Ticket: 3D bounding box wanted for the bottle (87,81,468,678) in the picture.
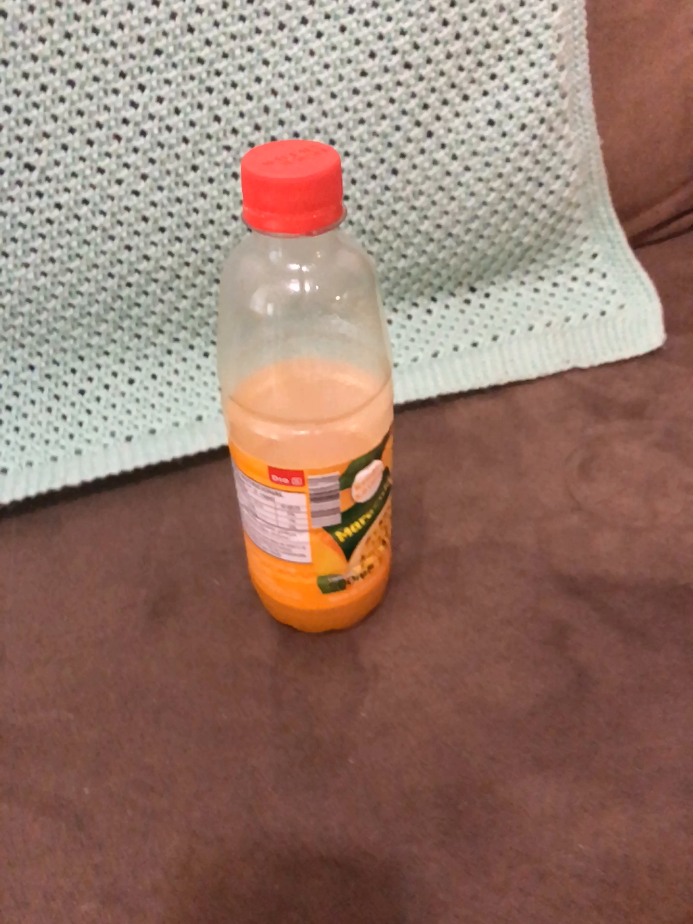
[{"bbox_3d":[-0.015,-0.022,0.296,0.080,0.198,0.080,-2,42,2],"label":"bottle"}]
